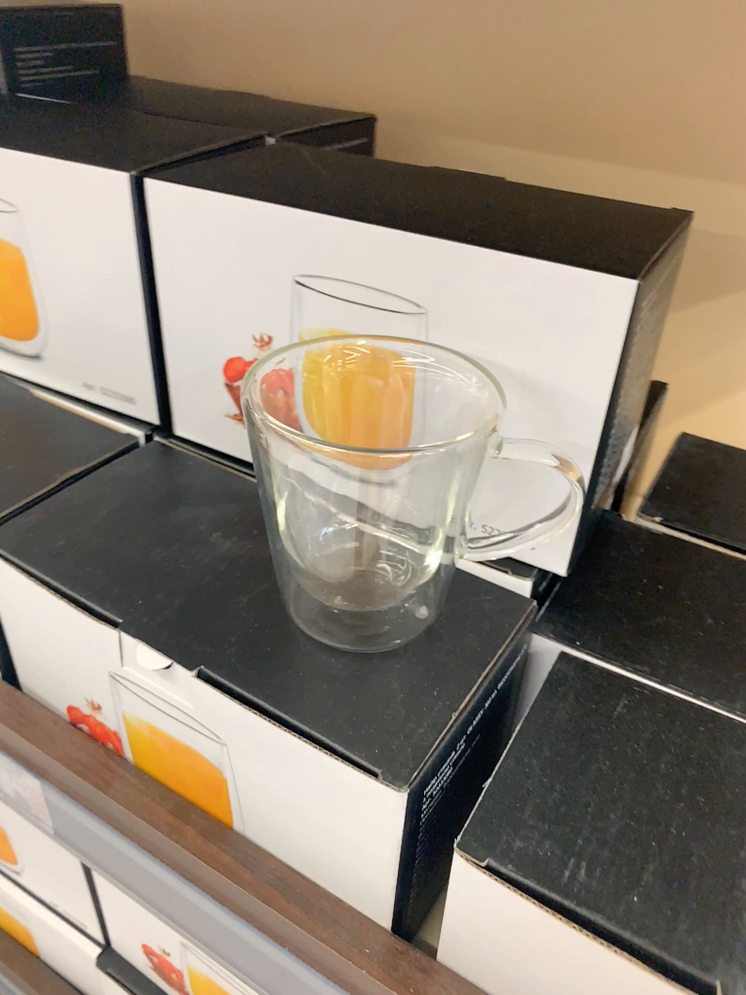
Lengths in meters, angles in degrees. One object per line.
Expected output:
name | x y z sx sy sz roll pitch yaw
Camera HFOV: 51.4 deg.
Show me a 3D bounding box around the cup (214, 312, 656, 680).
cup | 0.013 -0.001 0.246 0.110 0.090 0.070 1 35 -3
